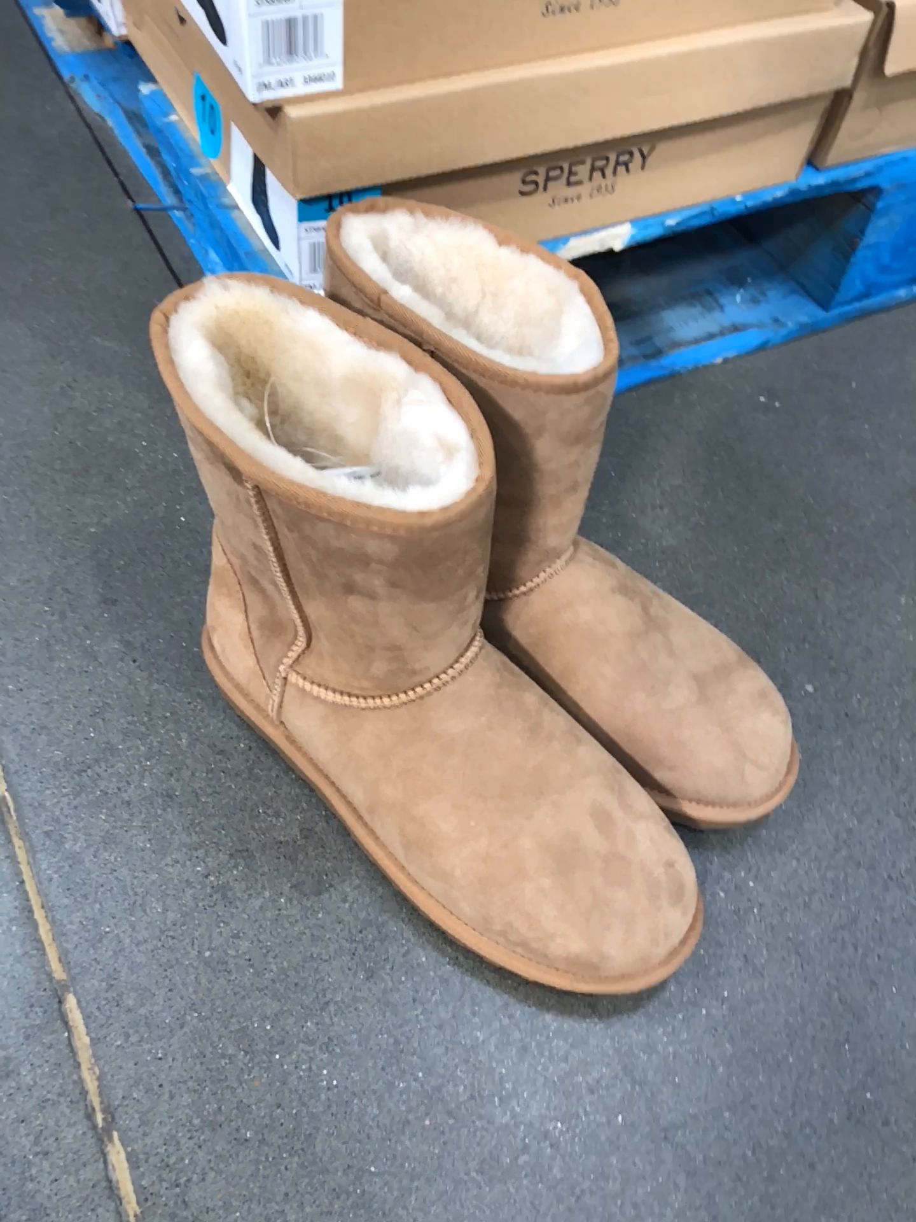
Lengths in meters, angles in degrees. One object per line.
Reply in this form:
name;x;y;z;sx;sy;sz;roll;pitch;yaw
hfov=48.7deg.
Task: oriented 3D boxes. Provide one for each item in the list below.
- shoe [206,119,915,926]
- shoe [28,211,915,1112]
shoe;0.048;-0.034;0.502;0.310;0.259;0.130;33;57;17
shoe;-0.006;0.032;0.450;0.310;0.259;0.130;36;58;19
